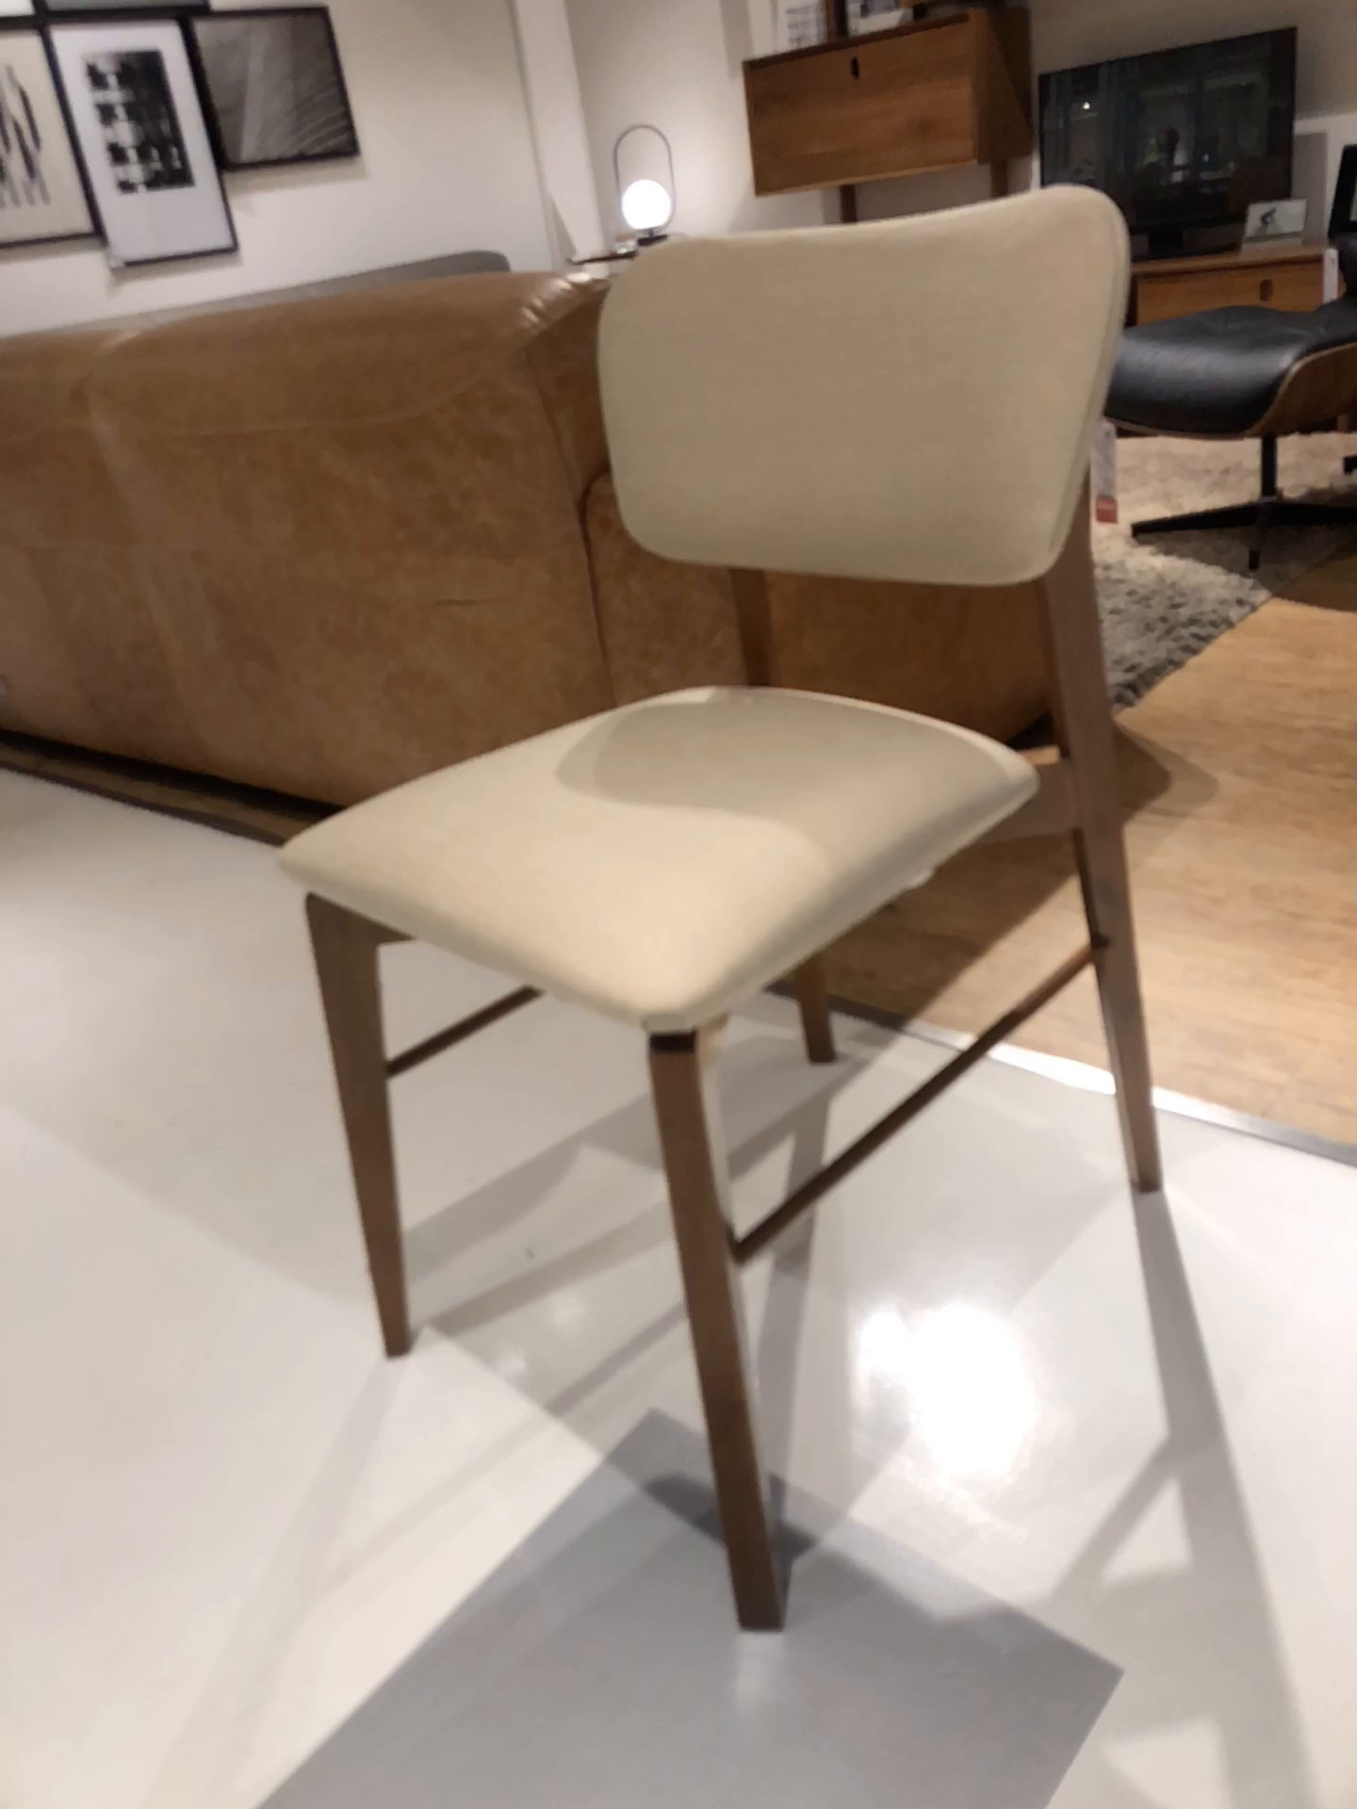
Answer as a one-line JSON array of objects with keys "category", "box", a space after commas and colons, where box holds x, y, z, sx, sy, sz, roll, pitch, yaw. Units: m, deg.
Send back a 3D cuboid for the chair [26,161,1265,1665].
[{"category": "chair", "box": [0.033, -0.058, 1.075, 0.592, 0.764, 0.512, -29, 32, -35]}]
